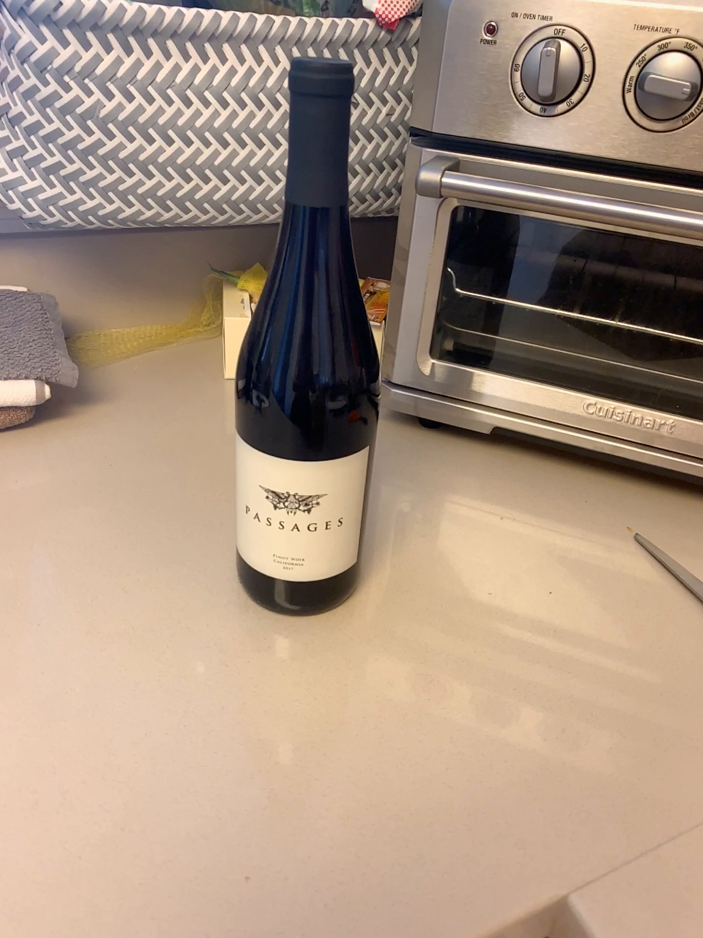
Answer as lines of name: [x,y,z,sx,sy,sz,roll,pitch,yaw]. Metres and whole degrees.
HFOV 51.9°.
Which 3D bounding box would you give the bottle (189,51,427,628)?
bottle: [-0.023,-0.055,0.372,0.080,0.268,0.091,9,32,7]
